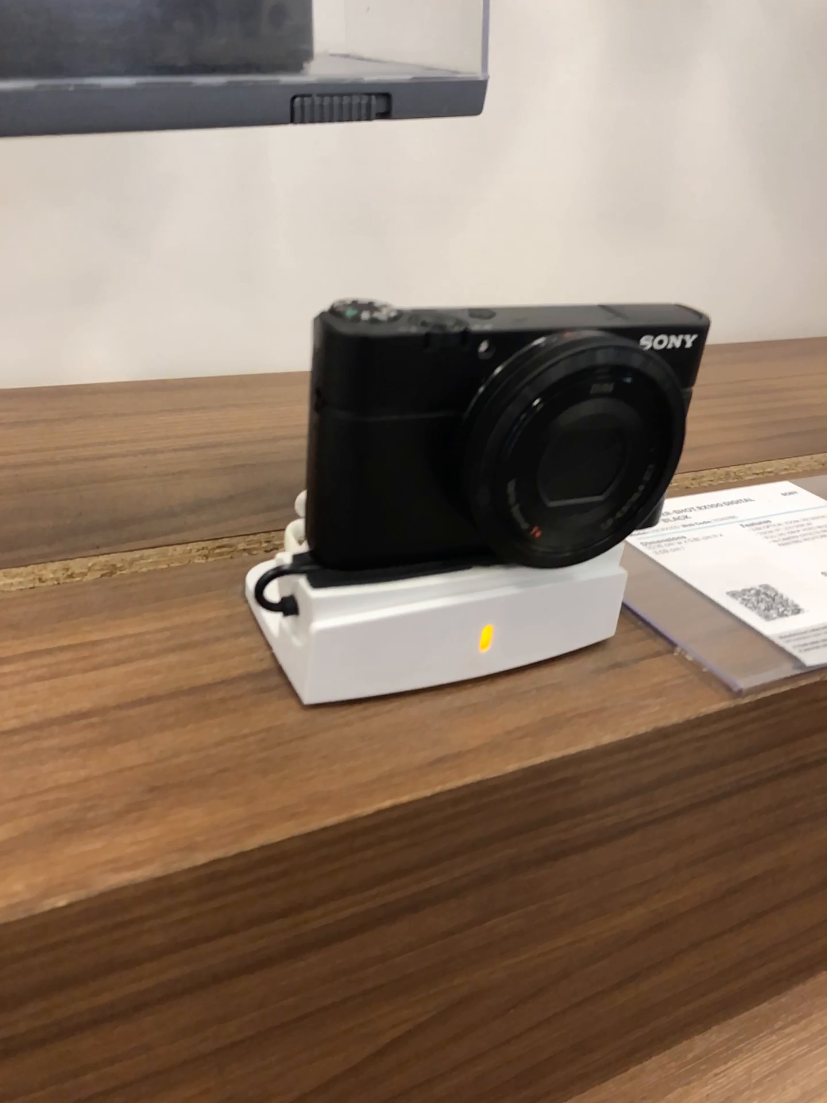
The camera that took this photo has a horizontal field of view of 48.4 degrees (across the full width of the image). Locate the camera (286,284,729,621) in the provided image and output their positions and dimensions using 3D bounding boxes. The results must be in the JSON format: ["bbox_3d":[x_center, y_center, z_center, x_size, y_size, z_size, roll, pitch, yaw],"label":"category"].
[{"bbox_3d":[0.022,-0.028,0.232,0.100,0.070,0.030,-8,34,-24],"label":"camera"}]
